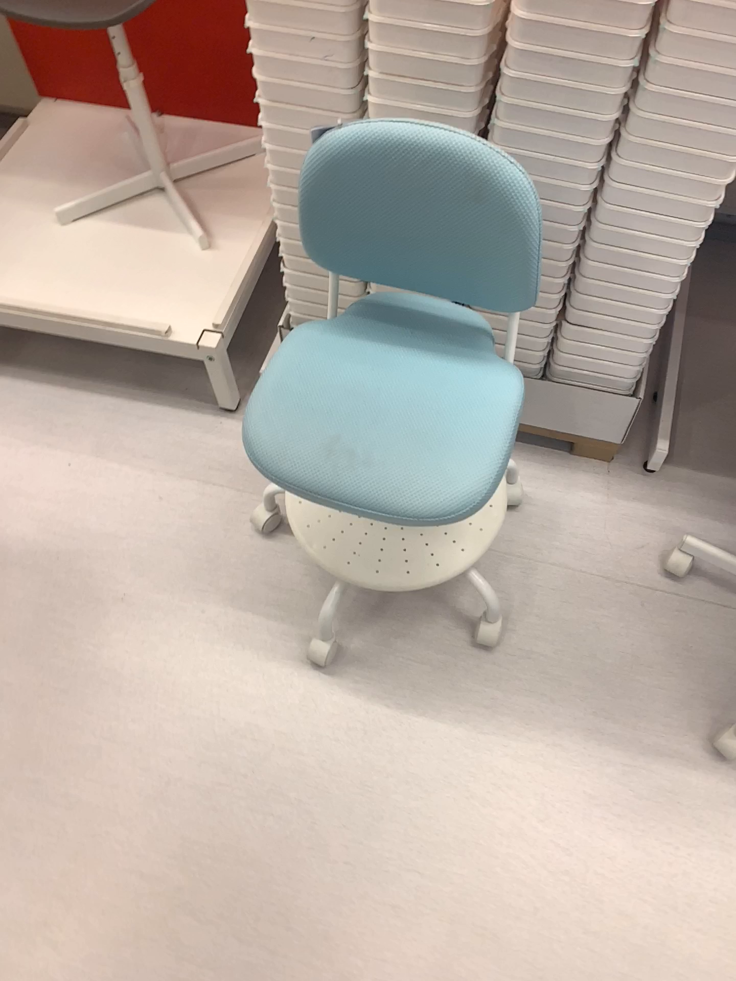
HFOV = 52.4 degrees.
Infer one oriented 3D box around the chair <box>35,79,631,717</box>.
[{"bbox_3d":[0.012,-0.103,1.226,0.570,0.748,0.611,12,60,10],"label":"chair"}]
